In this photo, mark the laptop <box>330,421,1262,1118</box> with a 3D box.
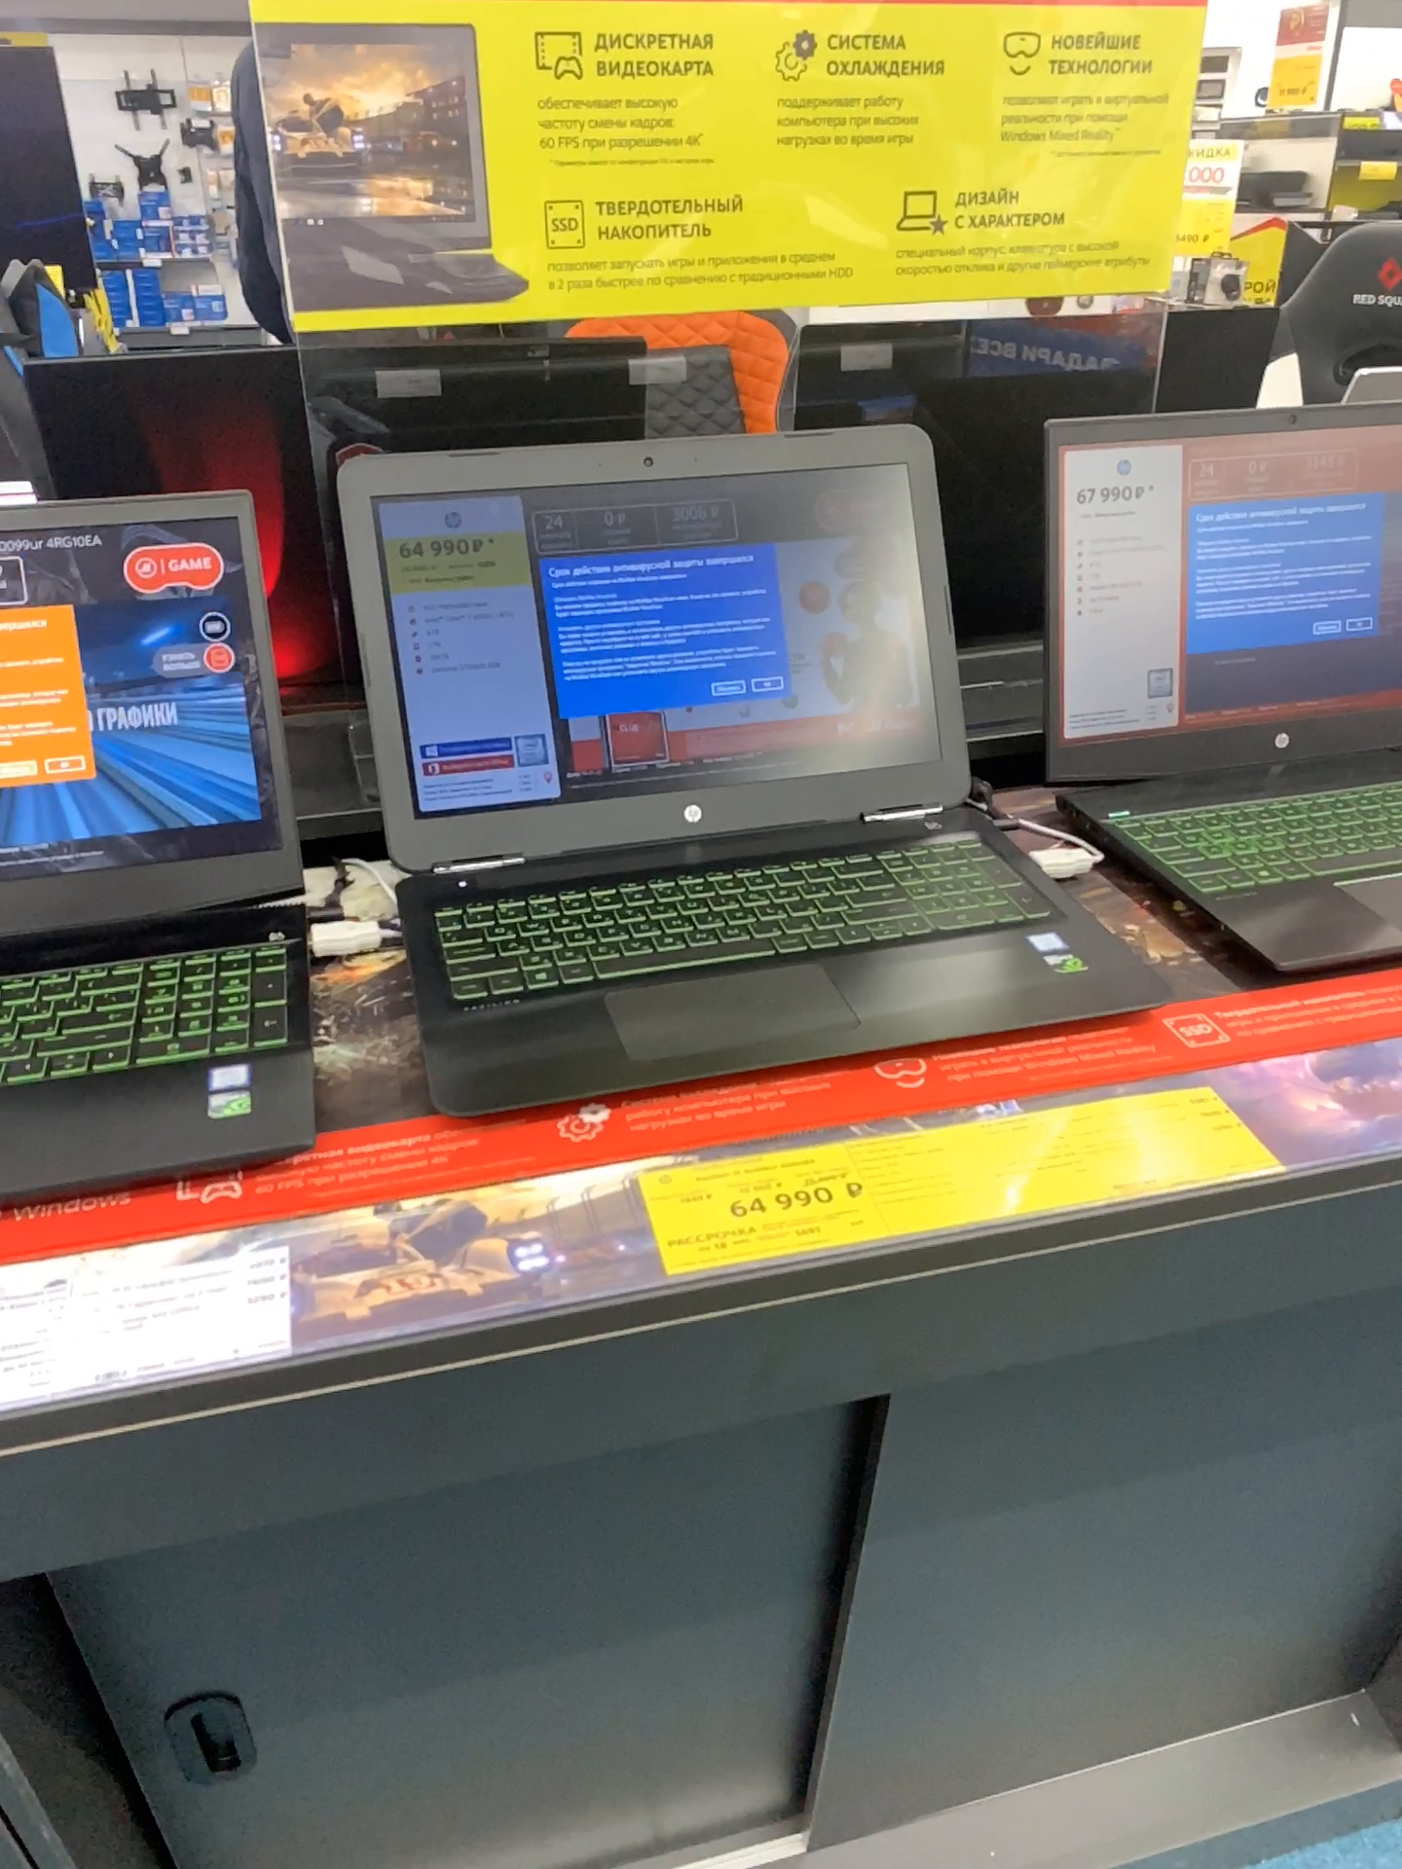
[{"bbox_3d":[0.014,-0.130,0.801,0.384,0.223,0.381,-7,30,-14],"label":"laptop"}]
